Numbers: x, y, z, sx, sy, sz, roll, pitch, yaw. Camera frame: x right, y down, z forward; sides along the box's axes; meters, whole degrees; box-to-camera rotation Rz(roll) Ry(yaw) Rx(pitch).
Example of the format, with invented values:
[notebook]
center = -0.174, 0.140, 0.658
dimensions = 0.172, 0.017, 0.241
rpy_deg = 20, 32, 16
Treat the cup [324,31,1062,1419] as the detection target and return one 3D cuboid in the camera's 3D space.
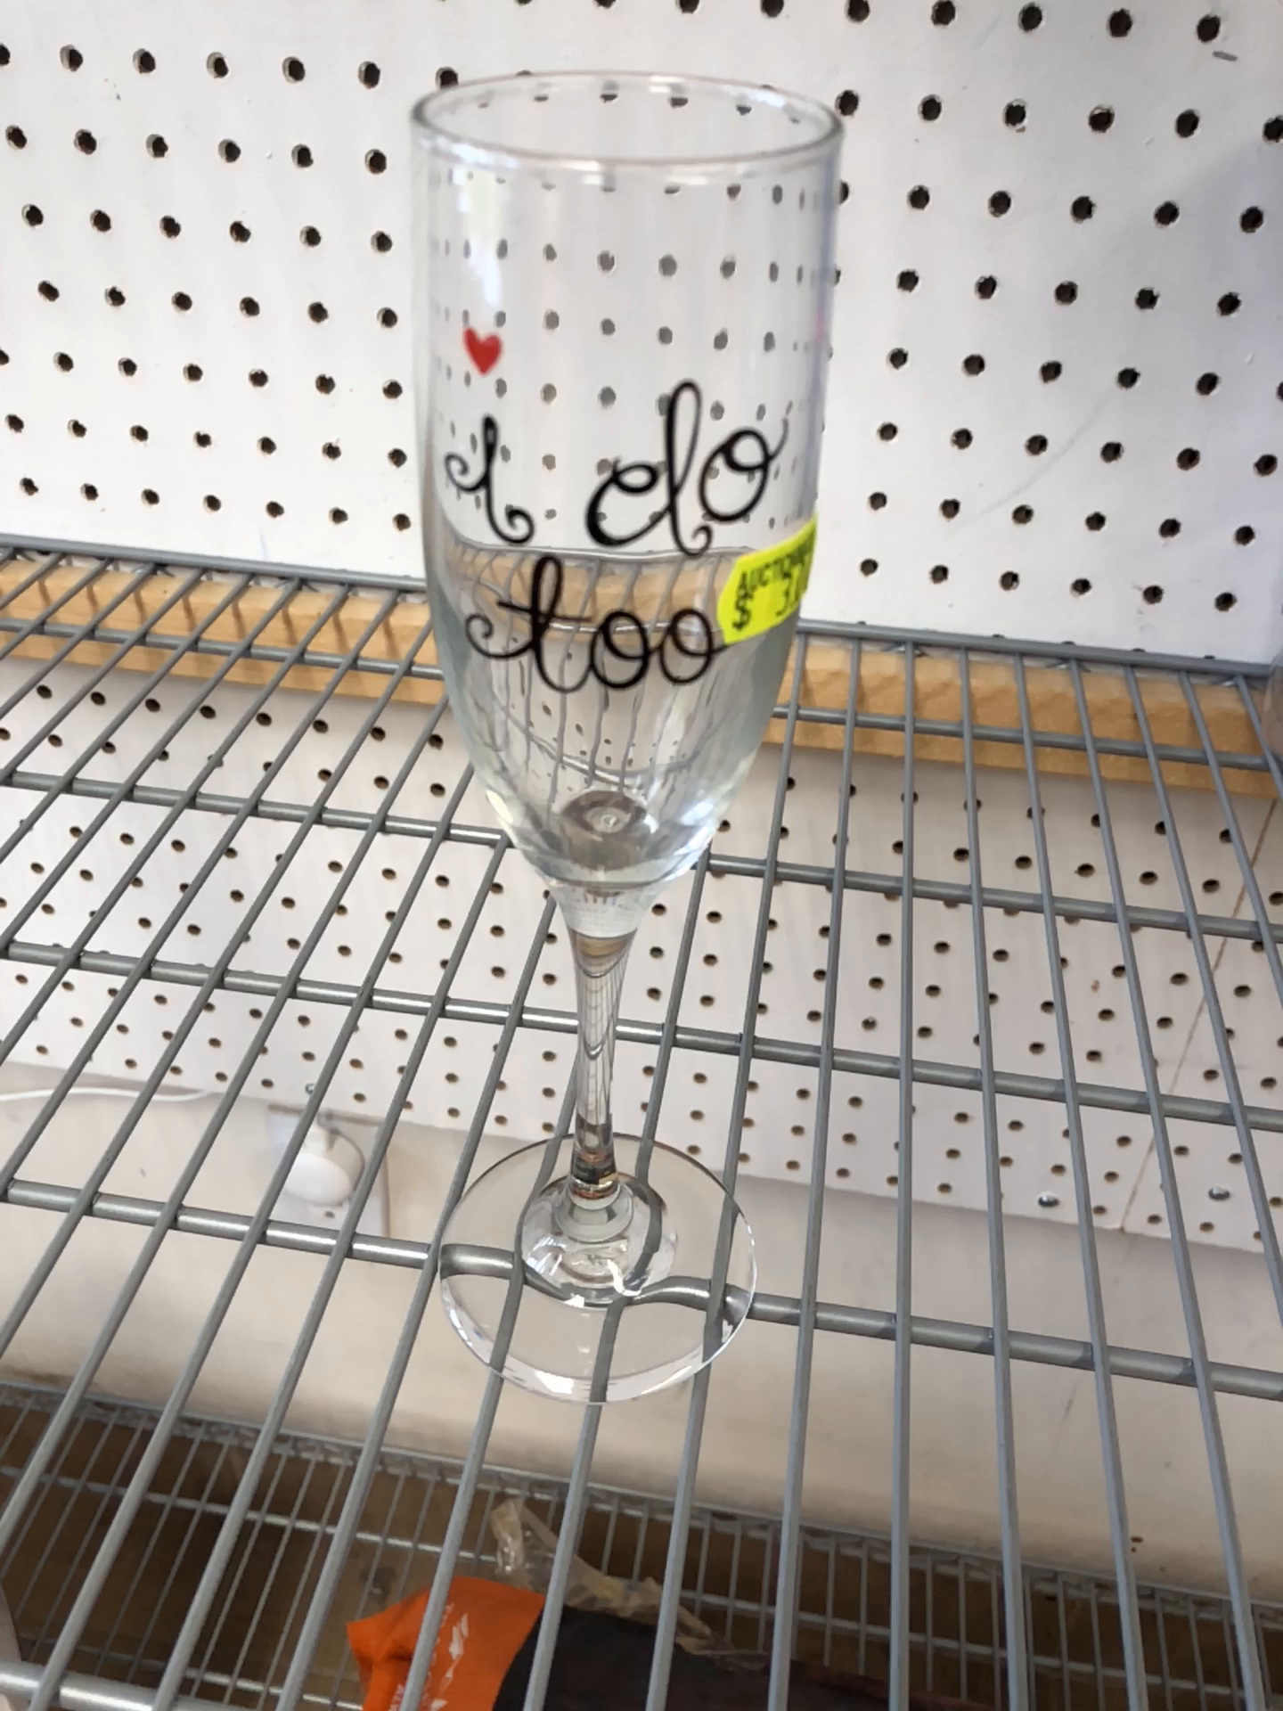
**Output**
[cup]
center = 0.002, -0.004, 0.226
dimensions = 0.070, 0.209, 0.070
rpy_deg = 2, 36, -1
